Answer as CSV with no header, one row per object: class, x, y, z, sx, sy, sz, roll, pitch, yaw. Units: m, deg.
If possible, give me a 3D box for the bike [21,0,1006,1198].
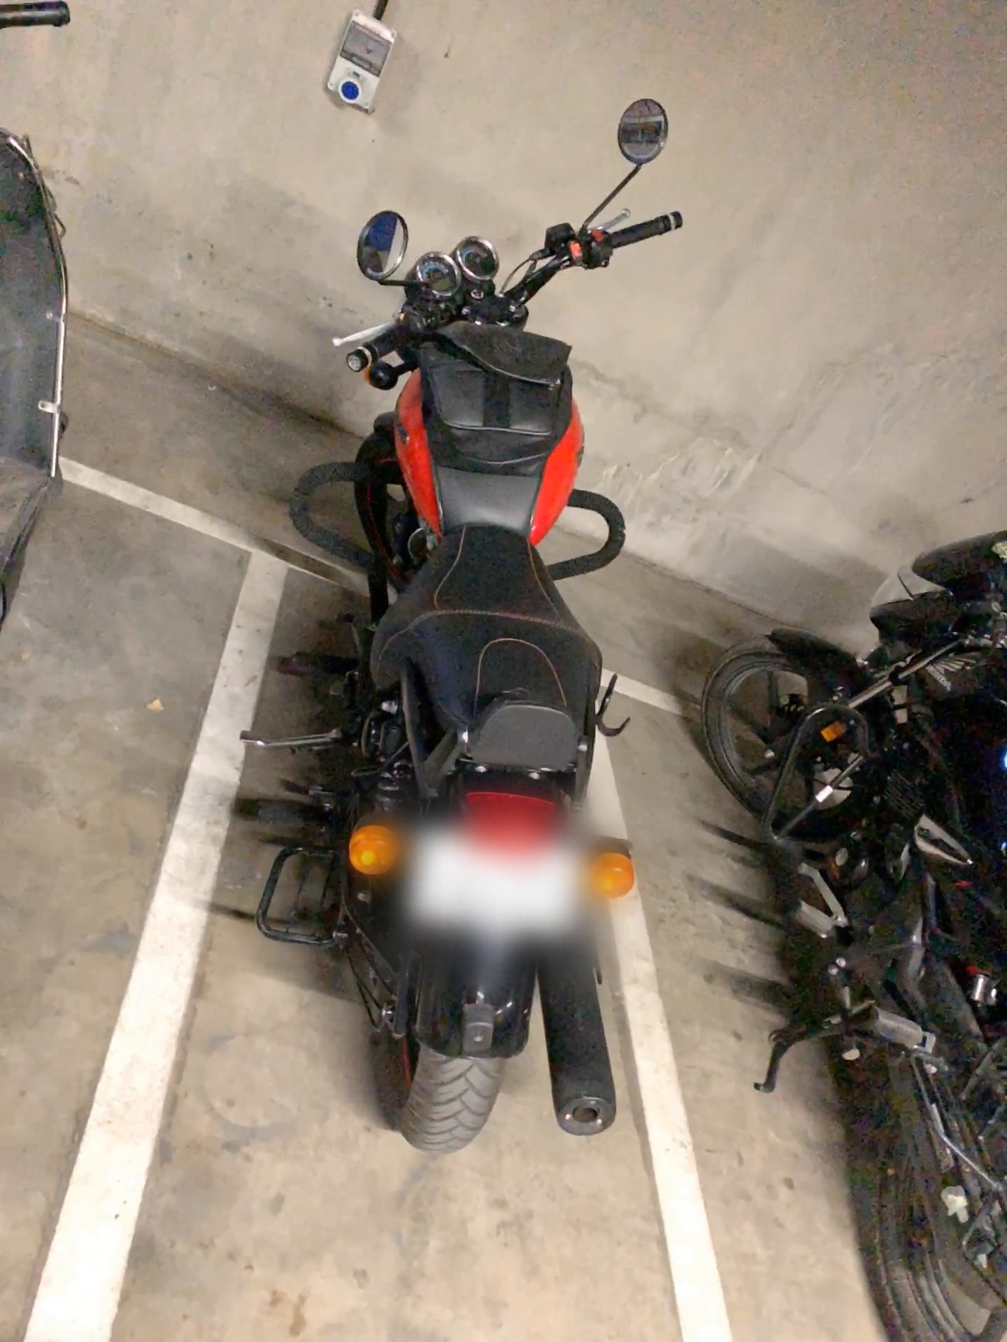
bike,-0.172,-0.333,1.893,0.831,1.301,1.839,15,37,-26
